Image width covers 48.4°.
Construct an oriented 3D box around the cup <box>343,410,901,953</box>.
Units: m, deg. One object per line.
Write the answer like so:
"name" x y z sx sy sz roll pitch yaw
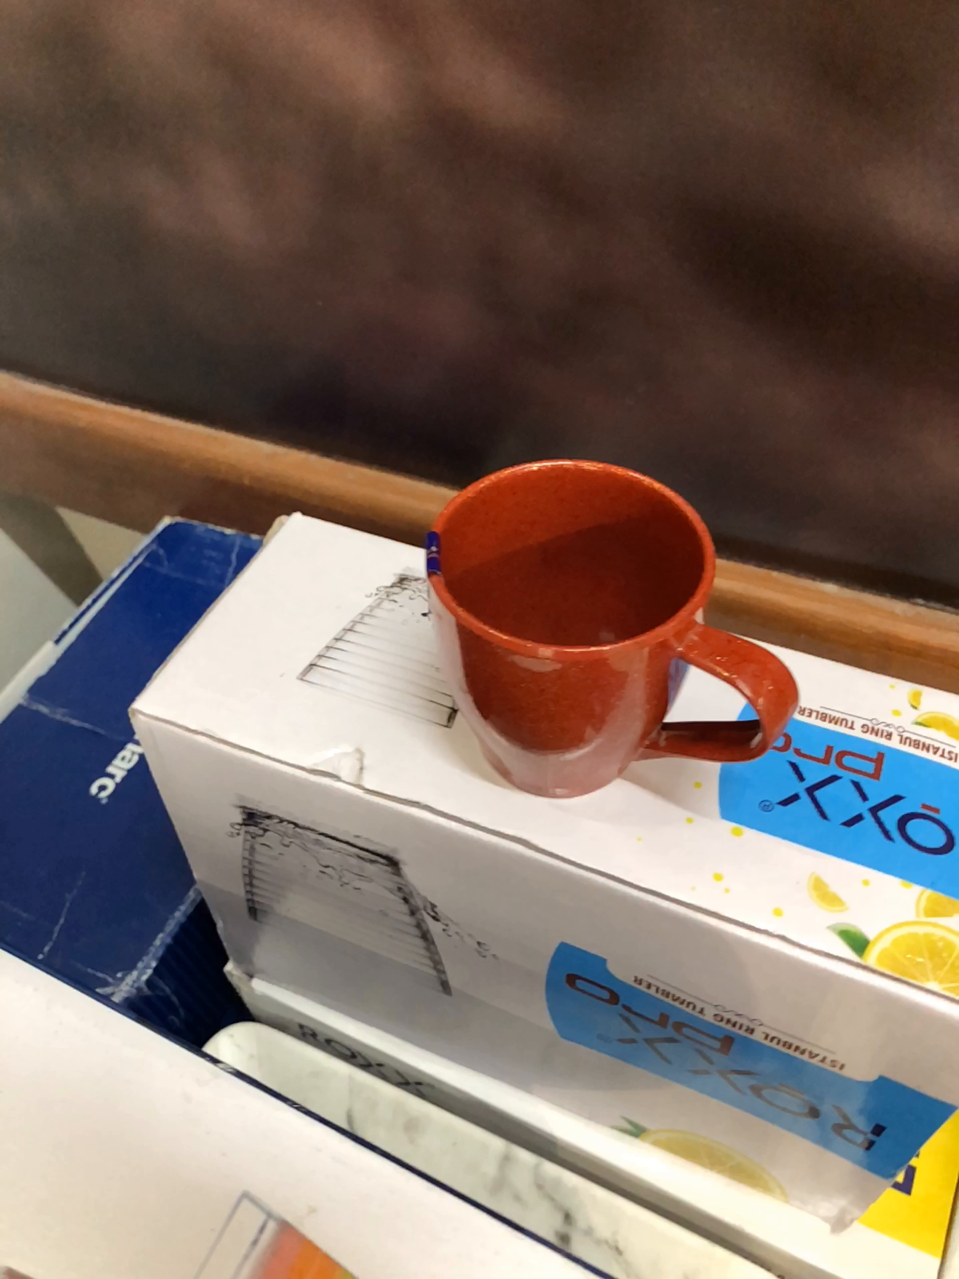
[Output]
"cup" 0.032 0.005 0.259 0.100 0.070 0.070 27 52 29
